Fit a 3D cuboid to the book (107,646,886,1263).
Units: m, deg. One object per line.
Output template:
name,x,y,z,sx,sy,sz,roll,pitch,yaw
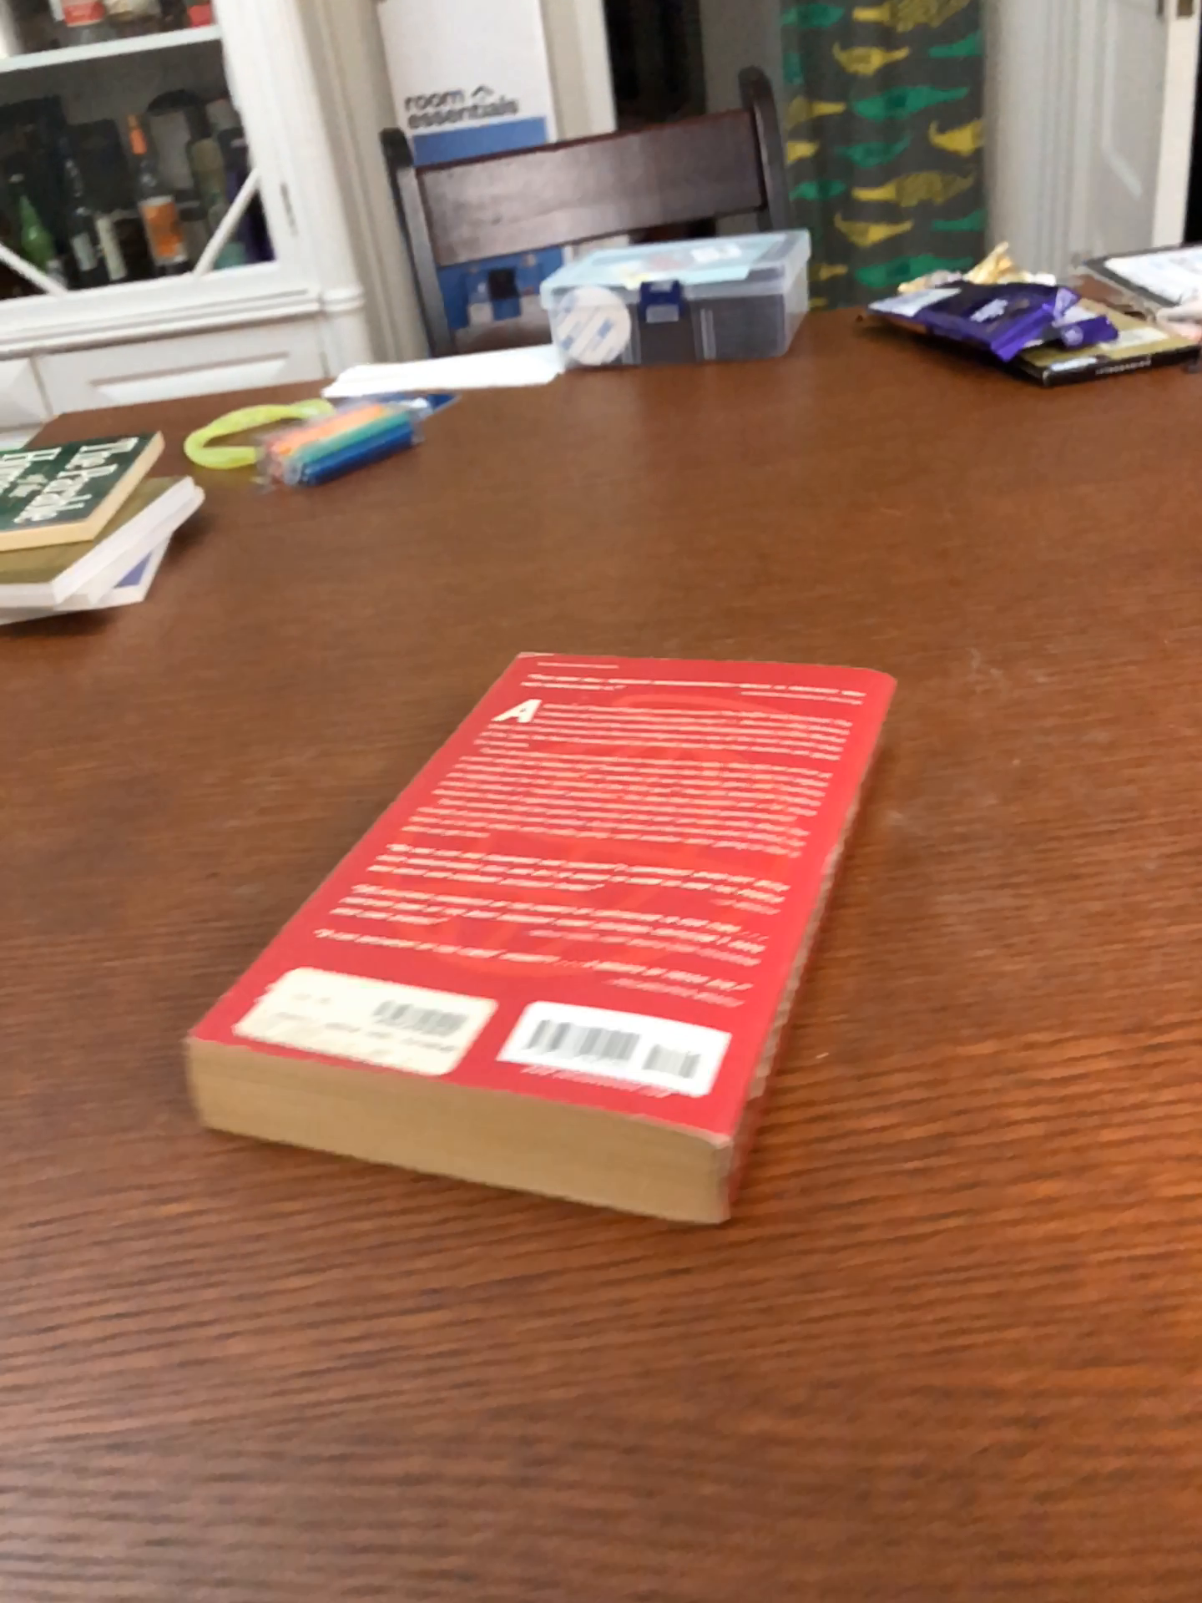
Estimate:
book,-0.010,0.019,0.370,0.140,0.030,0.211,5,34,21
